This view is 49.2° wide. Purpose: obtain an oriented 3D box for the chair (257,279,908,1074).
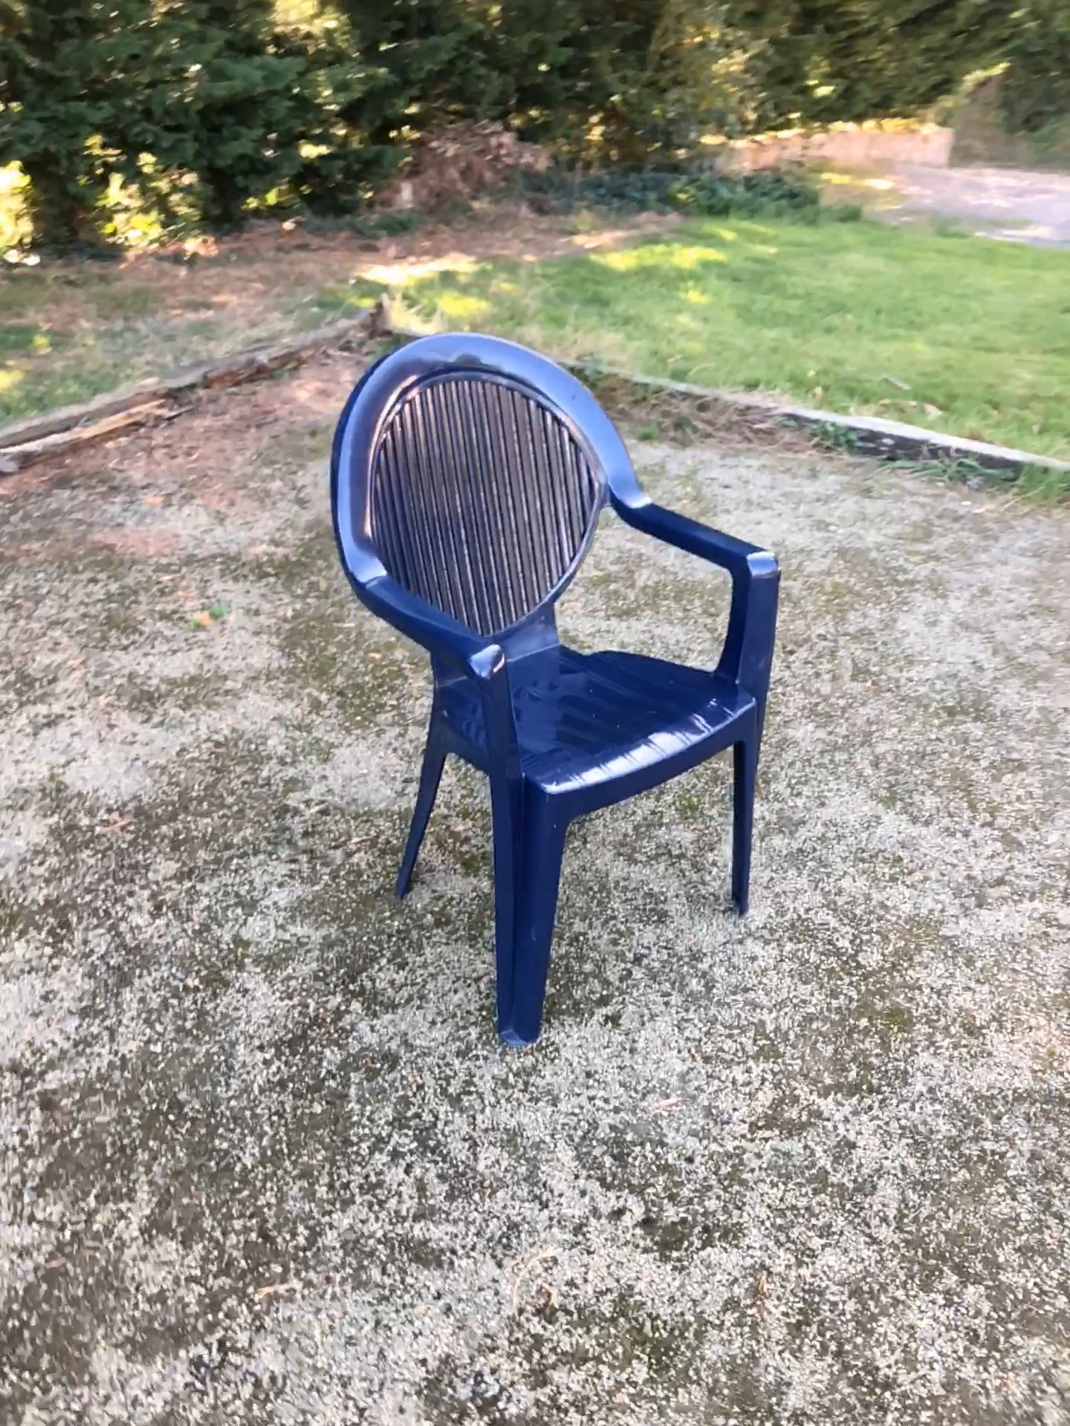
[{"bbox_3d":[0.039,-0.099,1.688,0.593,0.855,0.571,-23,39,-36],"label":"chair"}]
